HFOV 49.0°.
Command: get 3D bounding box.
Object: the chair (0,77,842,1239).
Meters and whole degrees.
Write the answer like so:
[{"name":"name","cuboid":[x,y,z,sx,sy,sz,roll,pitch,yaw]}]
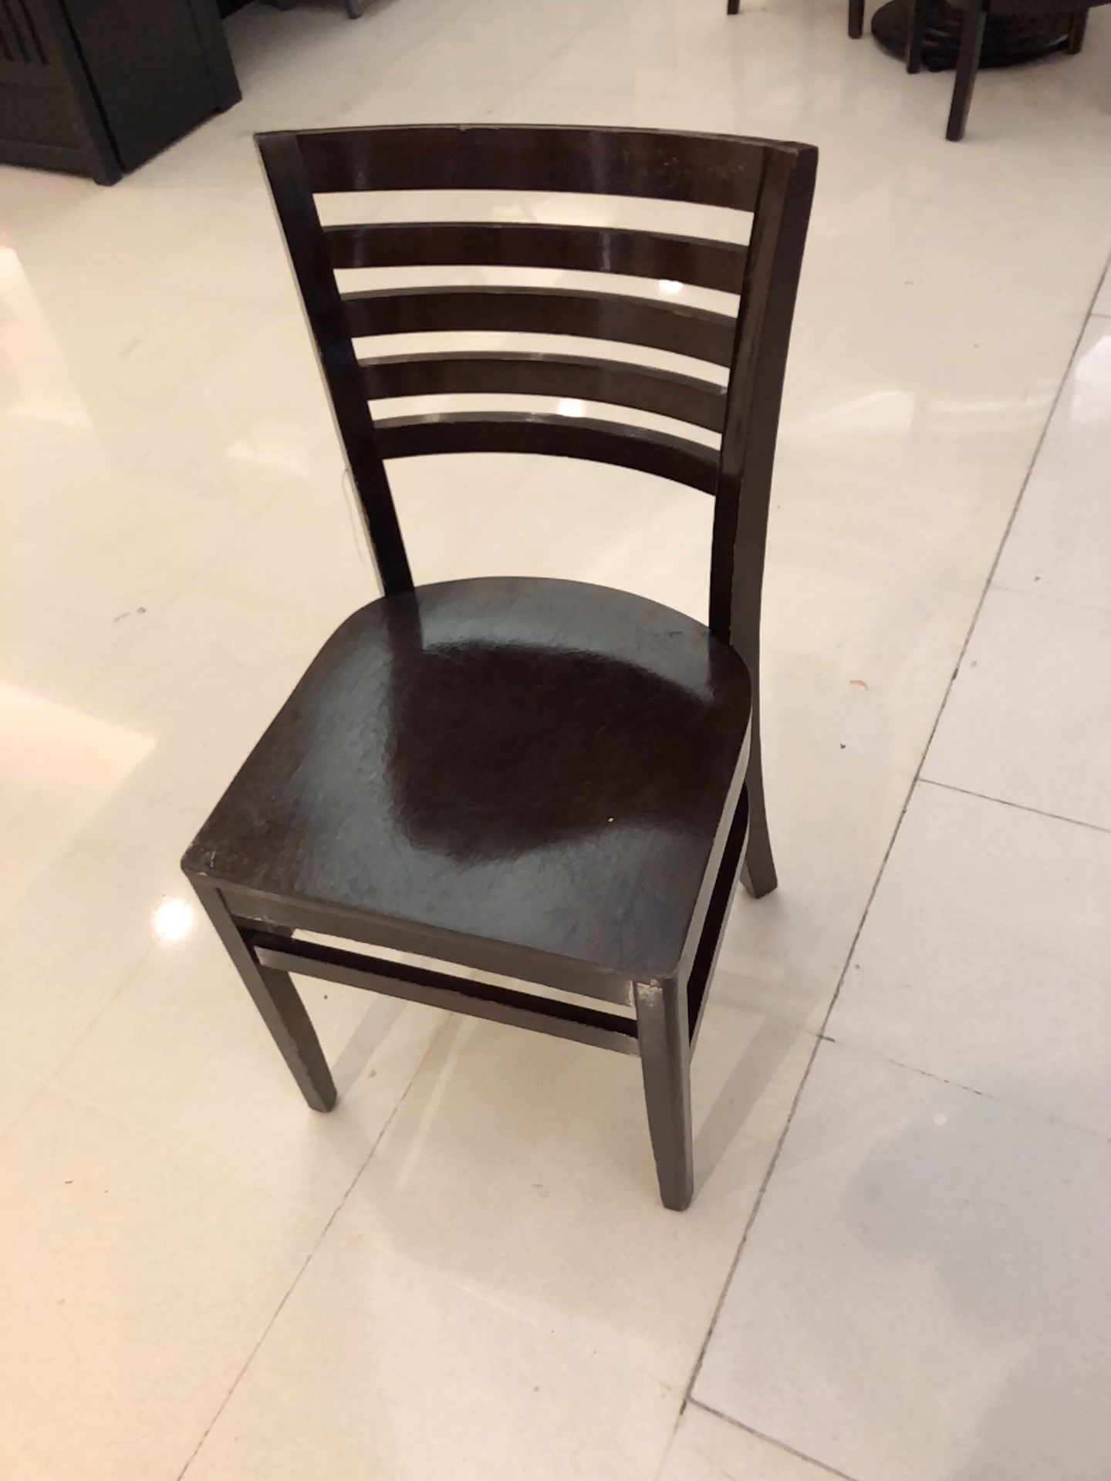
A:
[{"name":"chair","cuboid":[-0.051,-0.038,1.100,0.460,0.845,0.543,11,50,17]}]
